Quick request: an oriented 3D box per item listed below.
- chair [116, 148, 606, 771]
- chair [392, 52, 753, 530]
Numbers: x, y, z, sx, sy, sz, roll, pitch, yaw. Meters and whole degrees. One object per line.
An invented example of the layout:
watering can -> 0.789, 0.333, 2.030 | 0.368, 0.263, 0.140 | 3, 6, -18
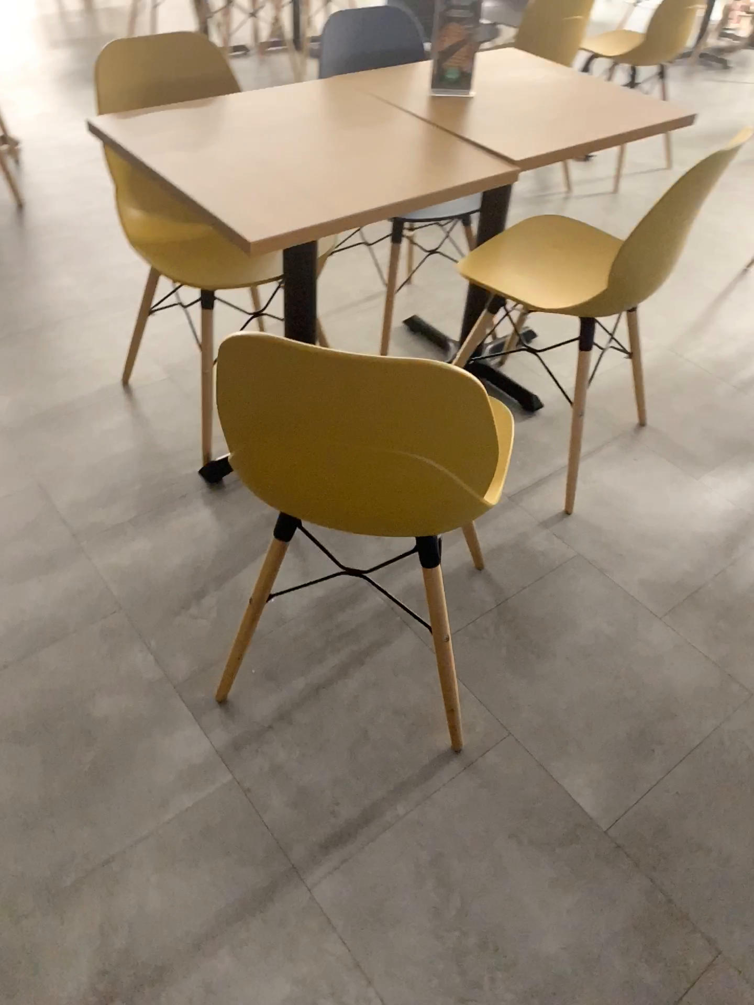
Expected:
chair -> 0.006, -0.049, 1.245 | 0.516, 0.781, 0.523 | 10, 44, 6
chair -> 0.421, -0.476, 1.731 | 0.530, 0.781, 0.520 | 27, 48, 23
